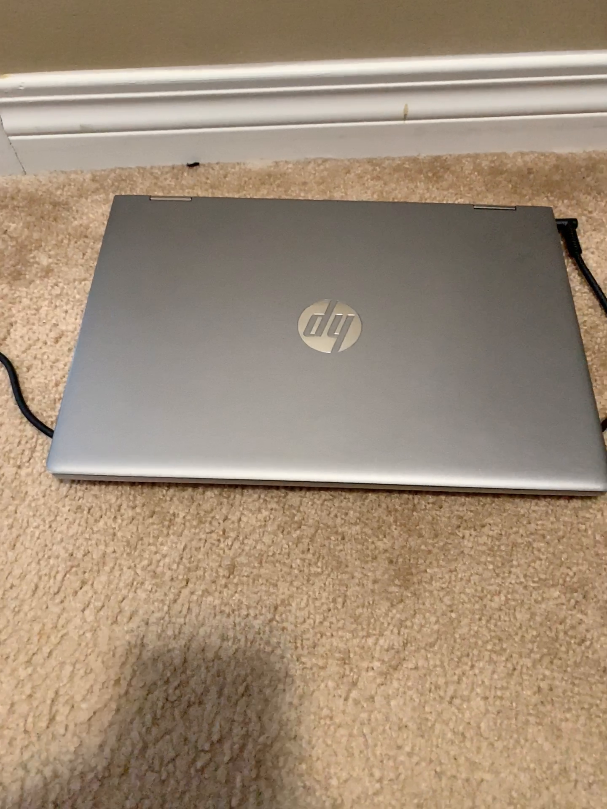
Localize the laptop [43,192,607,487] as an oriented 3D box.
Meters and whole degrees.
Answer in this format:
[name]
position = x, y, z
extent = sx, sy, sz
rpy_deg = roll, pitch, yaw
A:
[laptop]
position = 0.020, -0.054, 0.404
extent = 0.319, 0.001, 0.222
rpy_deg = 2, 60, -1
